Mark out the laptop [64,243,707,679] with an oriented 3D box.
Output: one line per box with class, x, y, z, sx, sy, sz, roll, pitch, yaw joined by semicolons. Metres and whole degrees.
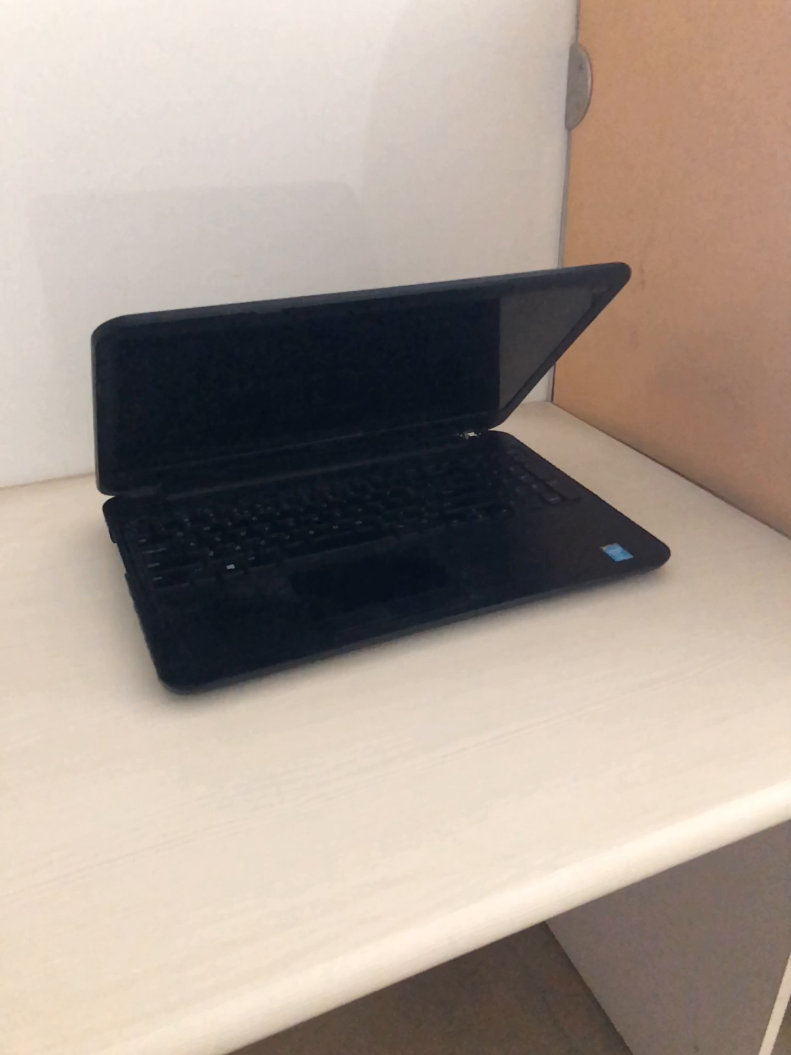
laptop;-0.017;-0.080;0.627;0.365;0.177;0.248;-11;31;-23
